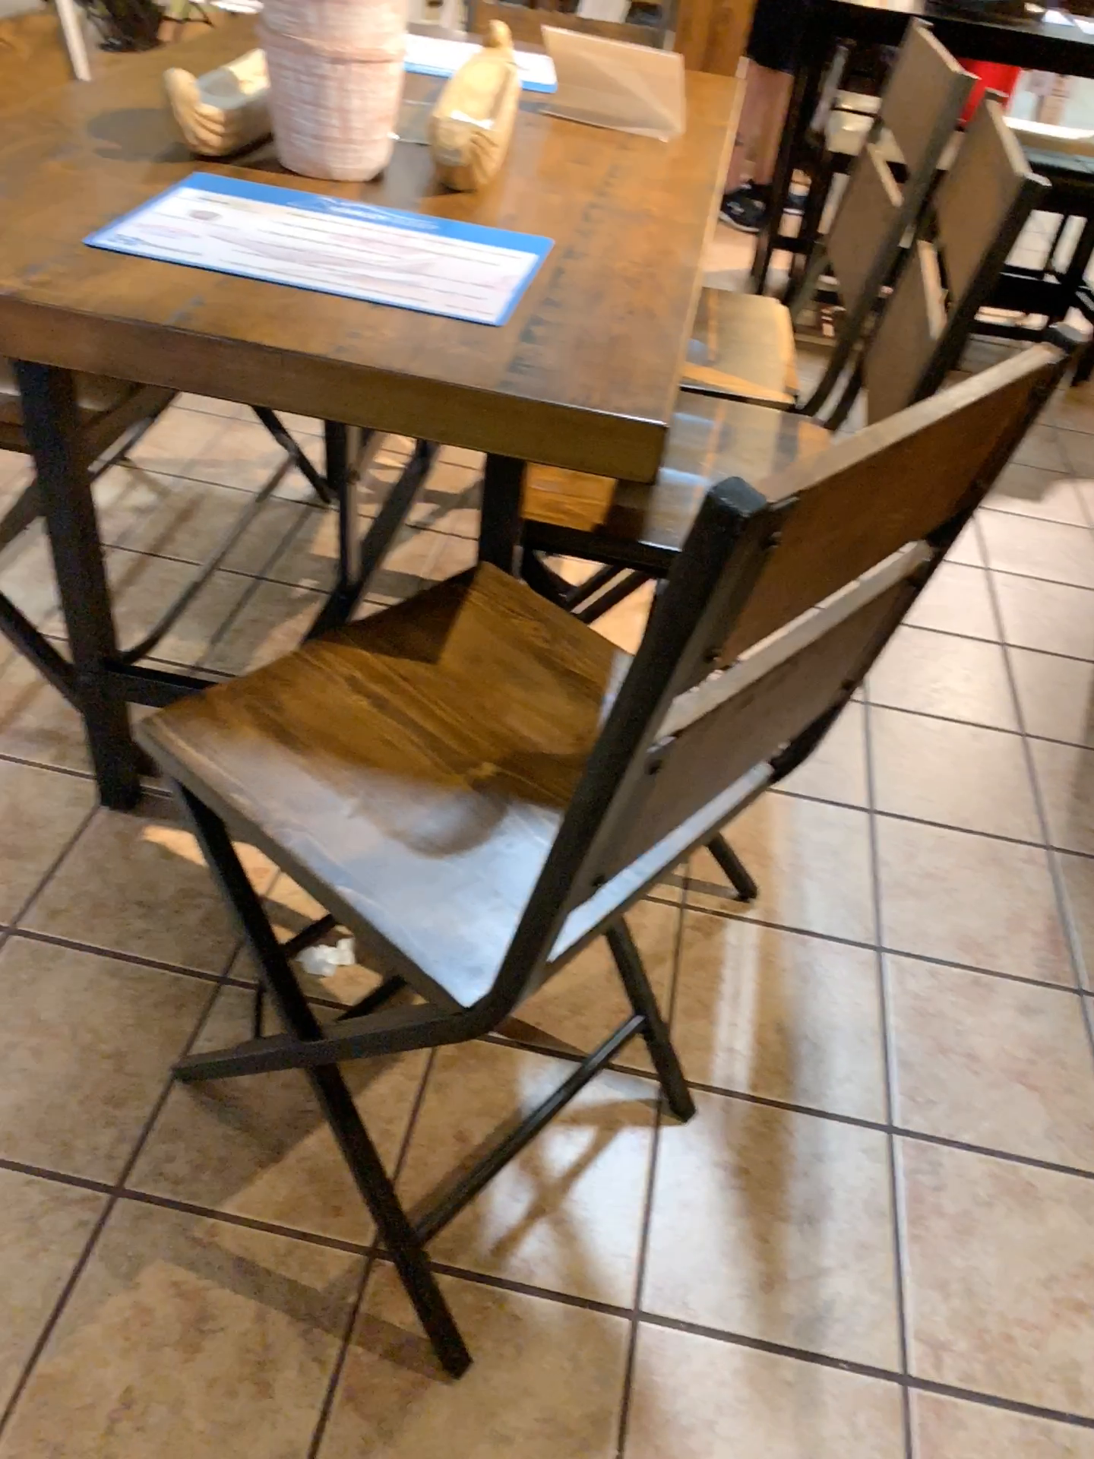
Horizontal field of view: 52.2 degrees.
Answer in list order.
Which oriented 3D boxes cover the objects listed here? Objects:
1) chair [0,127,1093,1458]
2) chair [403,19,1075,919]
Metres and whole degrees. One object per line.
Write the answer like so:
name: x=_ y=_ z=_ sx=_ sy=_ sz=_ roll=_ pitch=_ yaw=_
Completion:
chair: x=-0.068 y=0.064 z=1.039 sx=0.617 sy=0.983 sz=0.443 roll=33 pitch=44 yaw=30
chair: x=0.172 y=-0.312 z=1.529 sx=0.615 sy=1.003 sz=0.495 roll=10 pitch=41 yaw=5
